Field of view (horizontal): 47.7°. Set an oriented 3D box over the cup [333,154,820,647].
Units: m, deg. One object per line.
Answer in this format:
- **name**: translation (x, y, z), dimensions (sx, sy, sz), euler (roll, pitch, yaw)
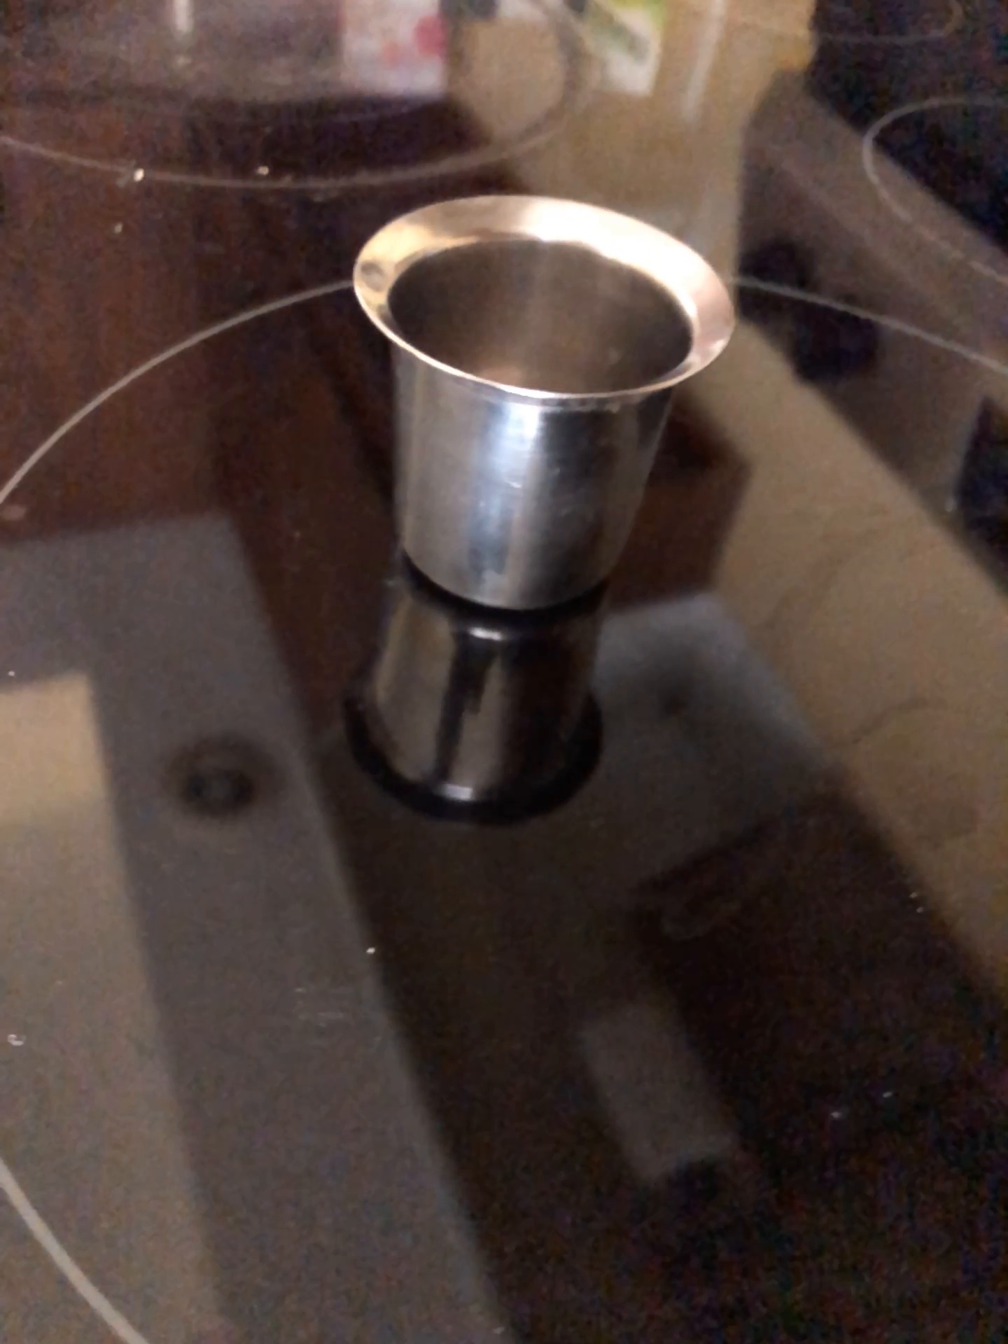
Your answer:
- **cup**: translation (0.007, -0.050, 0.213), dimensions (0.073, 0.056, 0.067), euler (5, 47, -5)
